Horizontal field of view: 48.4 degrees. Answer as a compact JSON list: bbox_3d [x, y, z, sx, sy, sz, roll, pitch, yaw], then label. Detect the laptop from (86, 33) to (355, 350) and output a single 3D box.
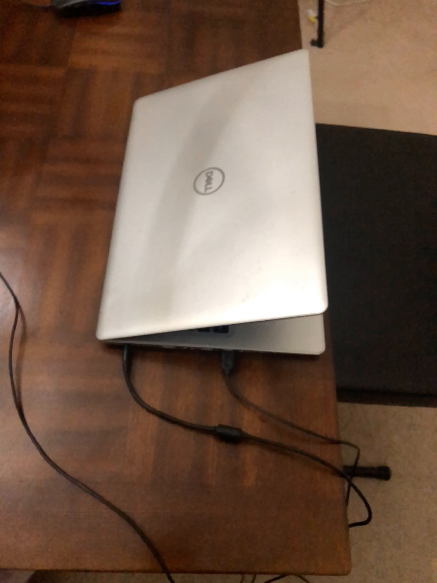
[{"bbox_3d":[0.008,-0.128,0.579,0.249,0.103,0.369,4,63,-4],"label":"laptop"}]
